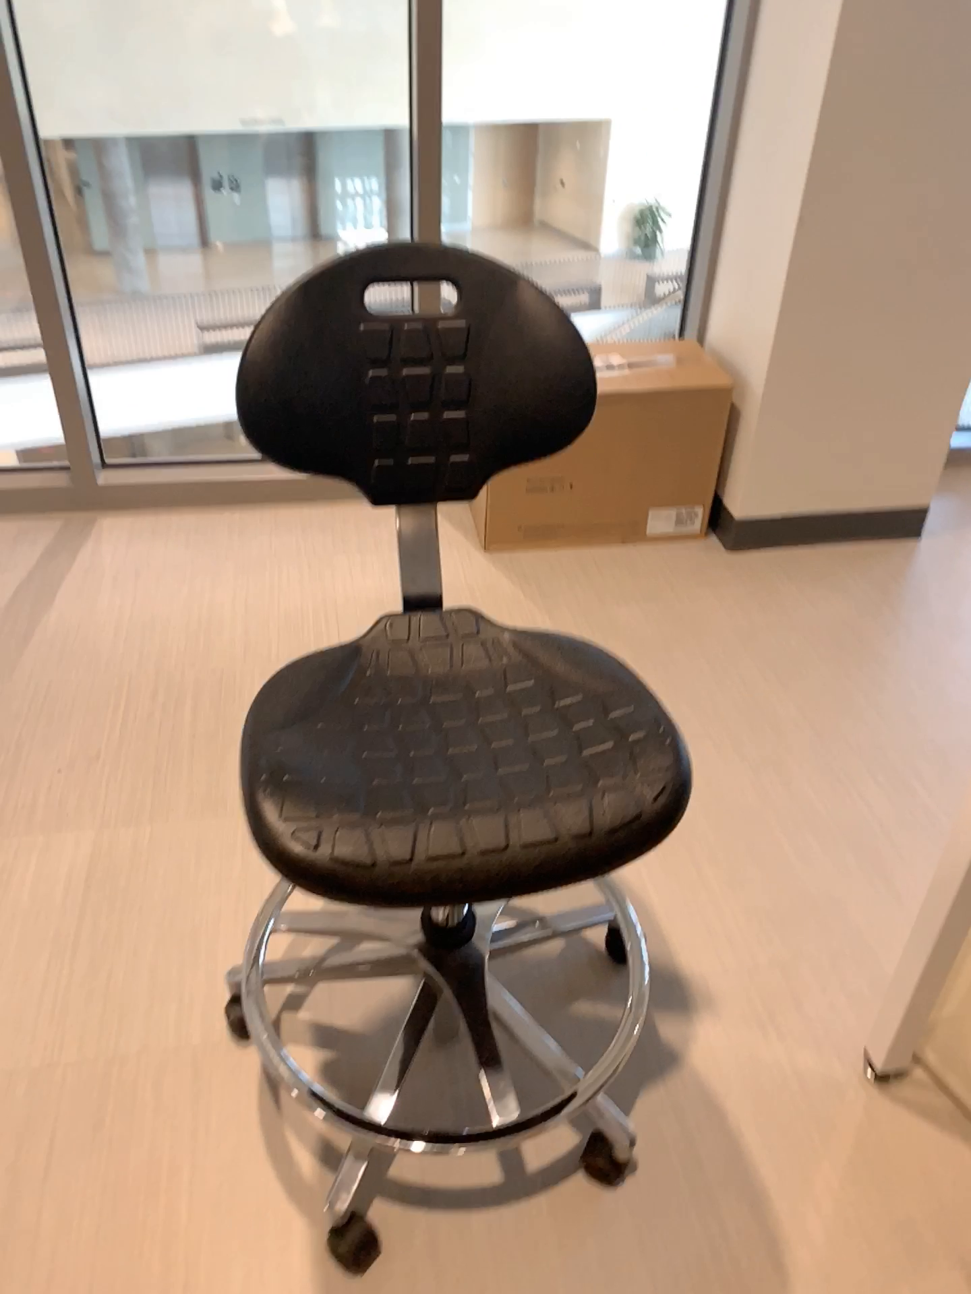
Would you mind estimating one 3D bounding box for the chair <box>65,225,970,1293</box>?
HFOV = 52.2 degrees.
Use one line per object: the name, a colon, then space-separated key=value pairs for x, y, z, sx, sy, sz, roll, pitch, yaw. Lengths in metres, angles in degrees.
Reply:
chair: x=-0.022 y=0.109 z=1.149 sx=0.671 sy=0.961 sz=0.665 roll=-9 pitch=36 yaw=-16
